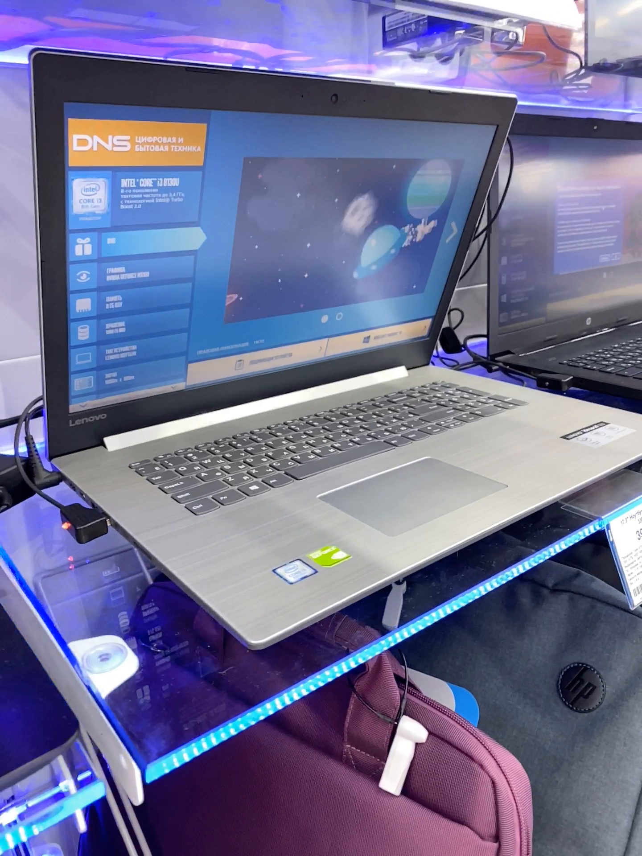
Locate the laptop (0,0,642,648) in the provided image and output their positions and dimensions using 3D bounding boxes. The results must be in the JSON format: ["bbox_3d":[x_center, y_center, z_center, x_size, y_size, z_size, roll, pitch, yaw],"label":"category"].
[{"bbox_3d":[0.041,-0.107,0.468,0.417,0.256,0.280,-15,24,-35],"label":"laptop"}]
